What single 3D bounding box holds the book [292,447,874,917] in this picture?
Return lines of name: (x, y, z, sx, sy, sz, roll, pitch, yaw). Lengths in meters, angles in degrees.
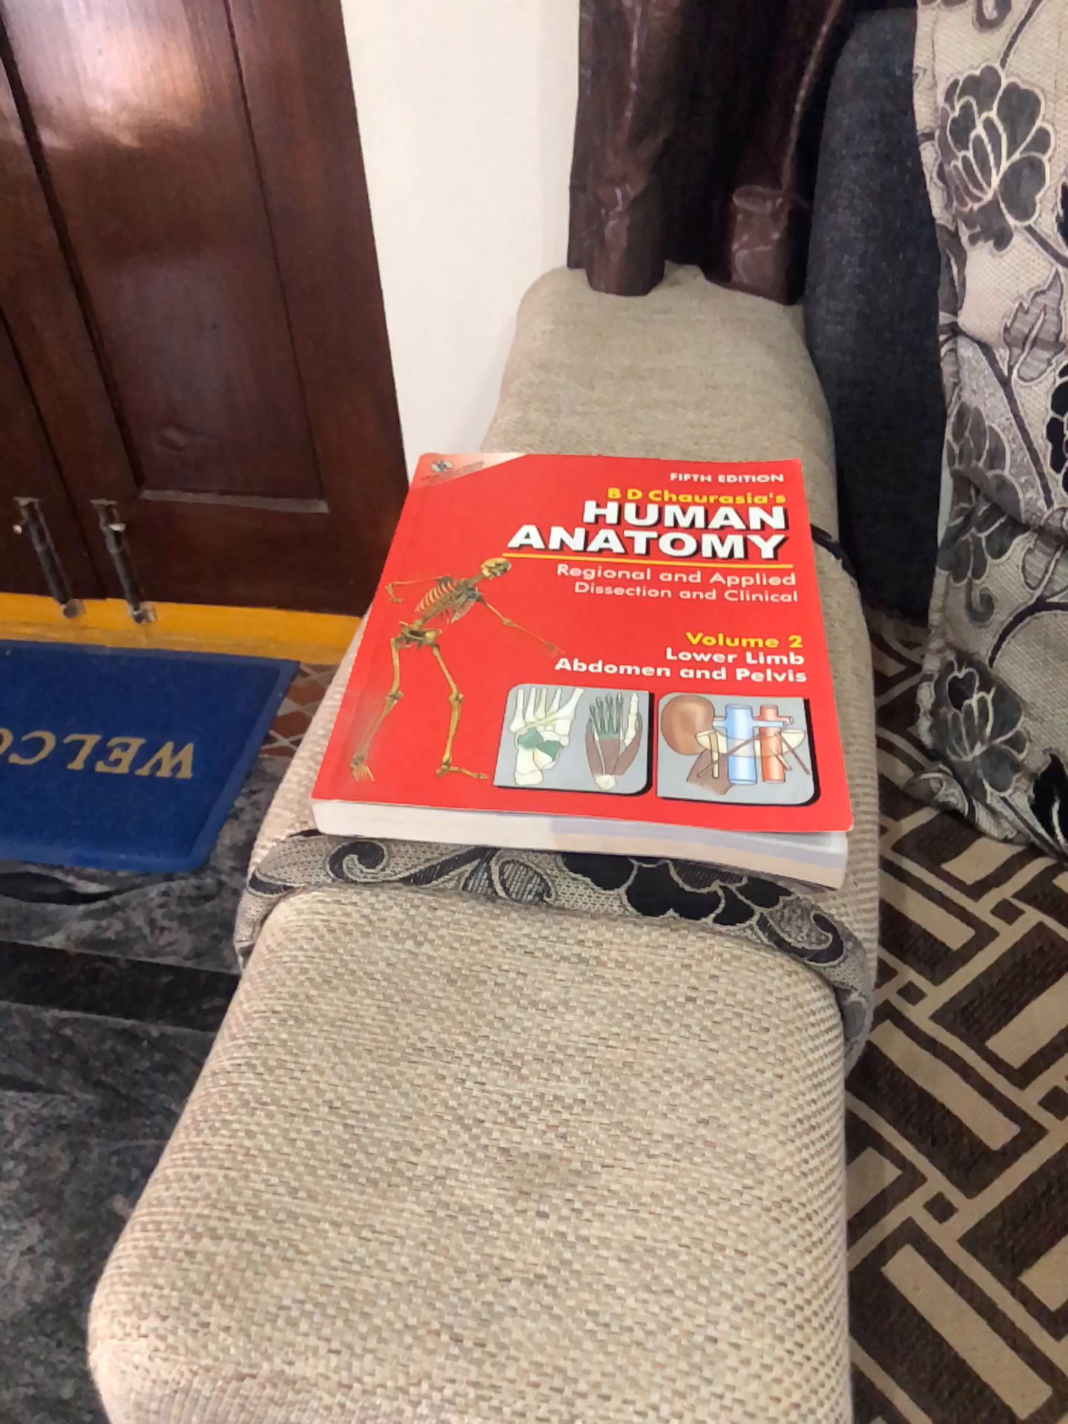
book: (0.031, -0.036, 0.565, 0.220, 0.040, 0.291, 2, 42, 6)
